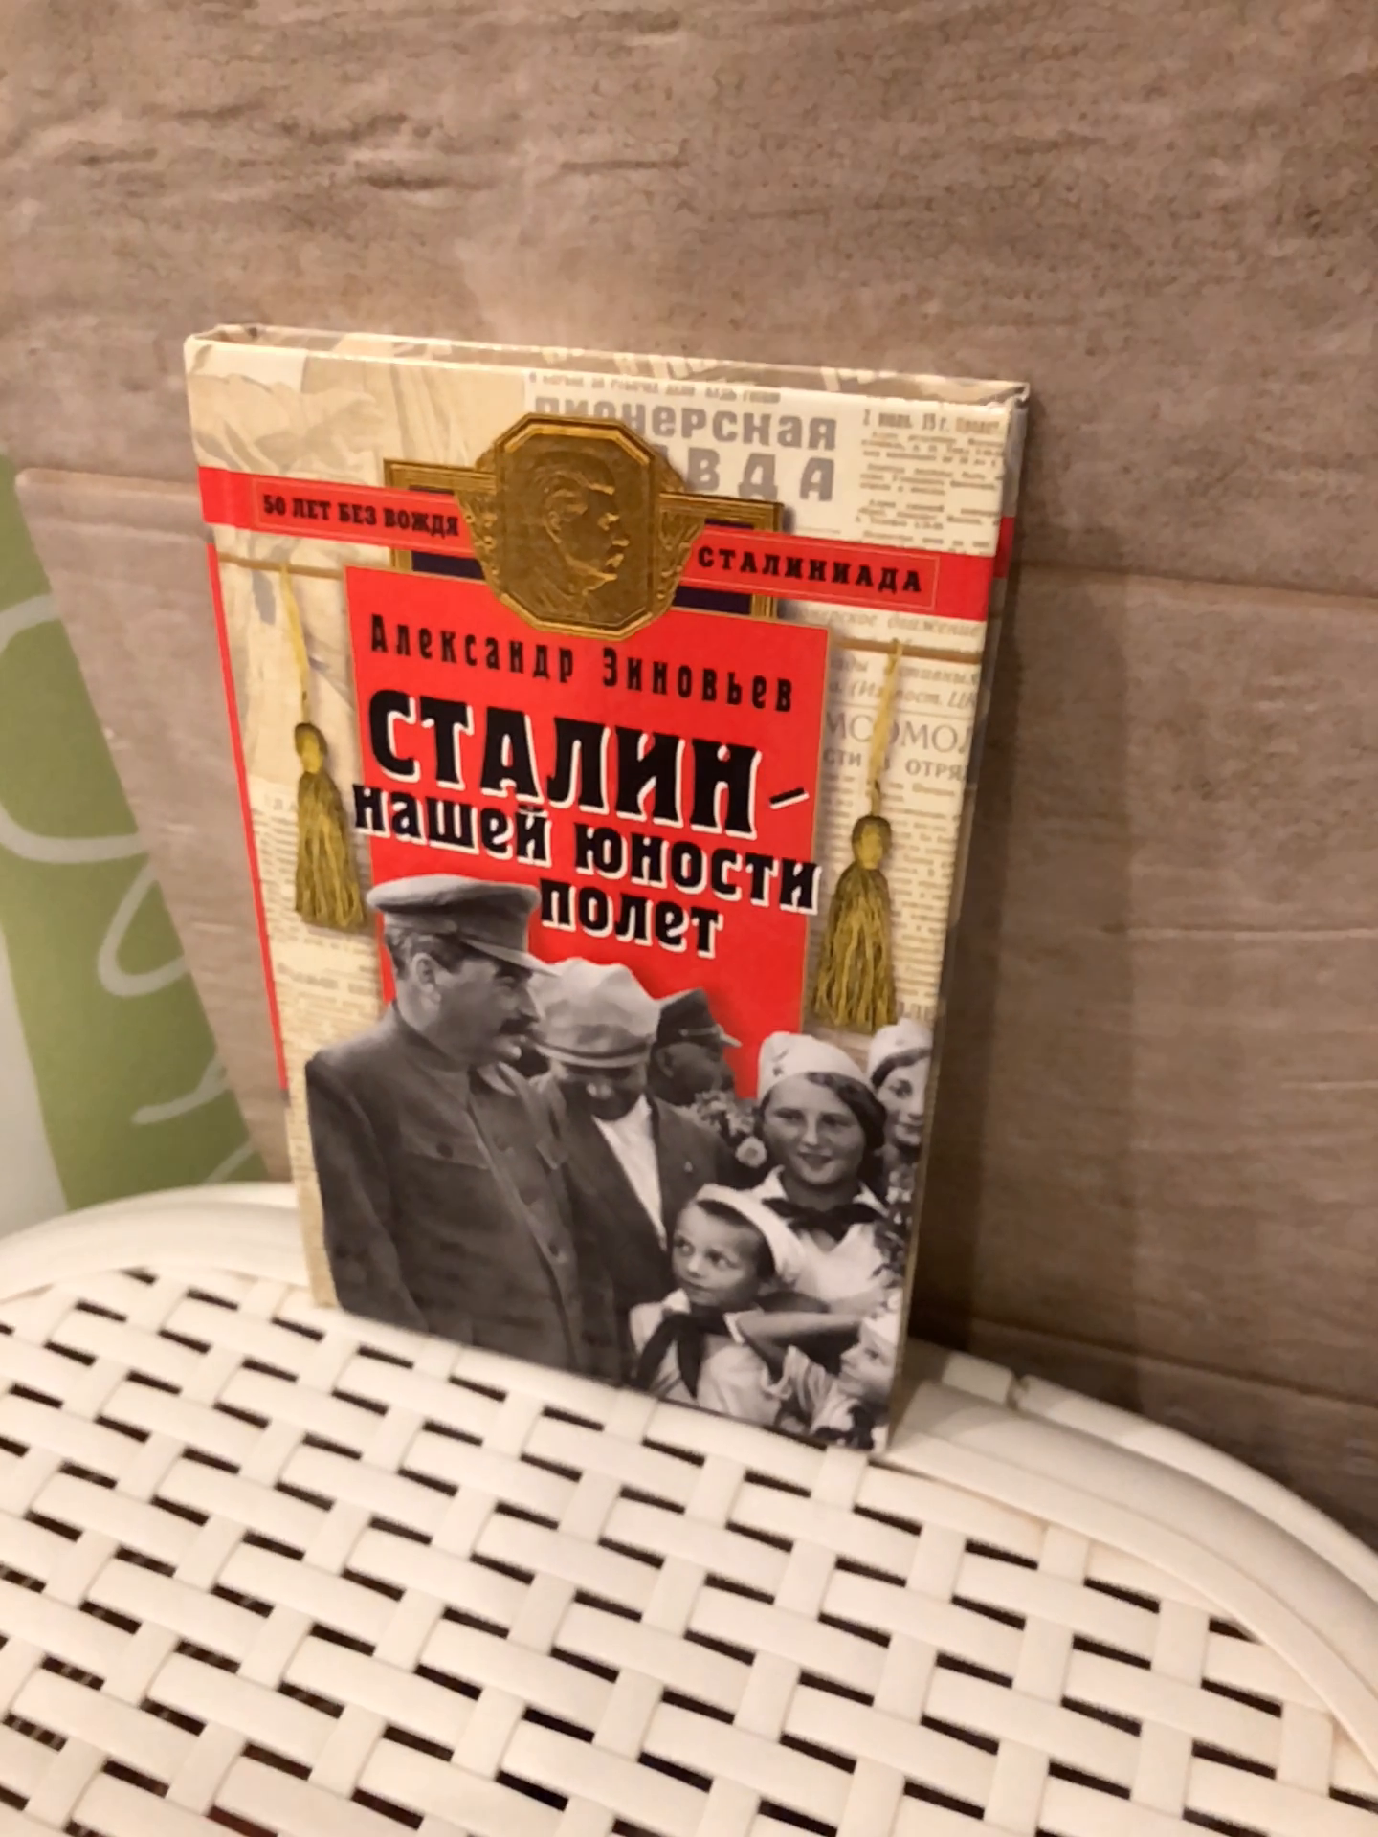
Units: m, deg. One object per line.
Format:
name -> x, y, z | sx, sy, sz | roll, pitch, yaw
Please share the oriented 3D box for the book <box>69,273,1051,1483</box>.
book -> -0.022, 0.000, 0.270 | 0.140, 0.199, 0.030 | 11, 32, 17
